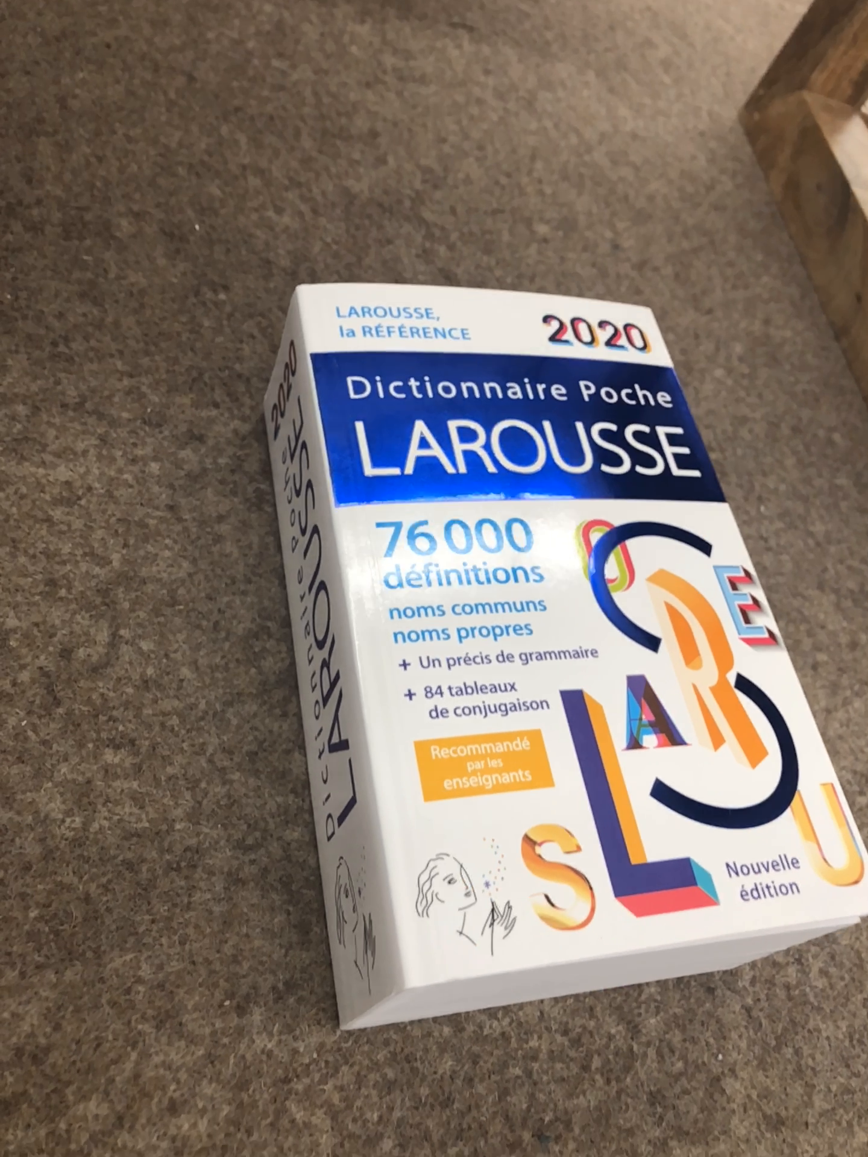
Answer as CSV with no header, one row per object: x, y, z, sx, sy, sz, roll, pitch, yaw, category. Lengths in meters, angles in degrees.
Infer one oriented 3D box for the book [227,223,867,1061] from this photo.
0.020,0.006,0.245,0.117,0.060,0.184,2,58,-24,book
